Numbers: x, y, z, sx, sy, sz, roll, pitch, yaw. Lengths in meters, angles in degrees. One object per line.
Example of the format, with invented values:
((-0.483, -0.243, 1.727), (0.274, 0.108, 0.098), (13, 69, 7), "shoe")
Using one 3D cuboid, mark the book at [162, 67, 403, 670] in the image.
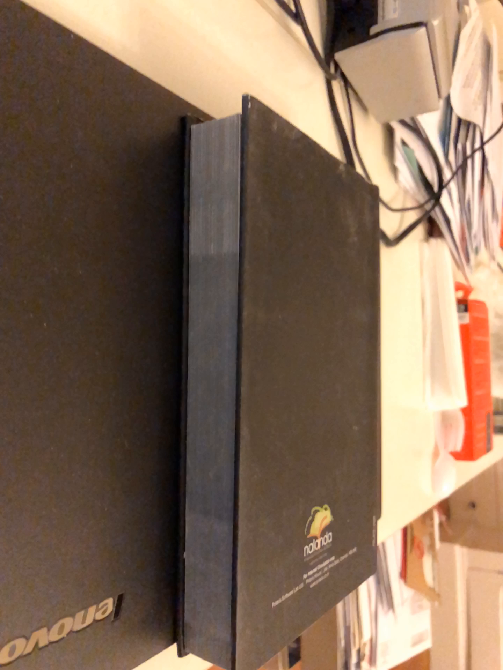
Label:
((0.025, 0.020, 0.273), (0.151, 0.040, 0.230), (5, 83, -56), "book")
